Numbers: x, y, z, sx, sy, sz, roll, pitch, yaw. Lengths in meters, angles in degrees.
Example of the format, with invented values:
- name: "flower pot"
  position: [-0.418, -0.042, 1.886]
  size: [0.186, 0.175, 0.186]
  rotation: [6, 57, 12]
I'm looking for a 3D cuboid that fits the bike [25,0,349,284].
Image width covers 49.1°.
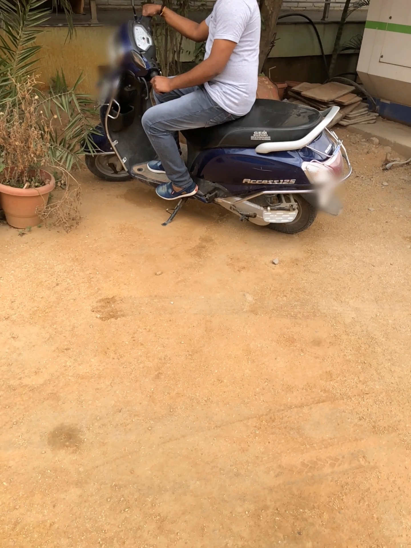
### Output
- name: "bike"
  position: [-0.117, -0.842, 2.624]
  size: [1.620, 1.221, 0.591]
  rotation: [16, 36, 19]
